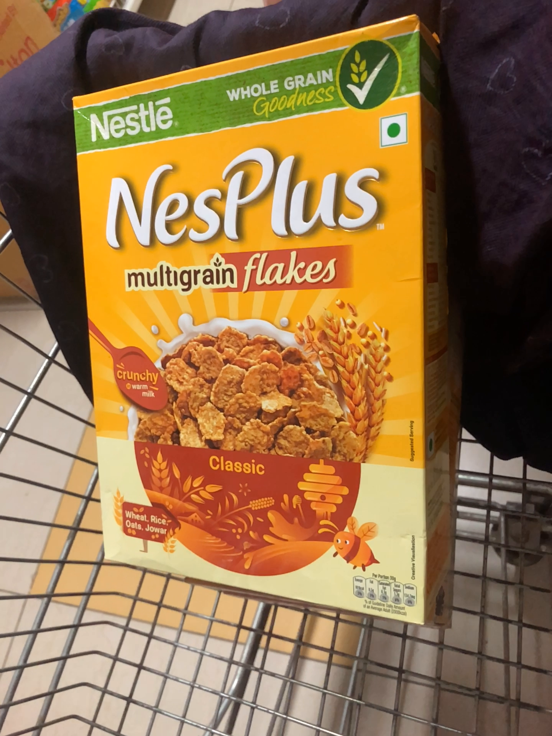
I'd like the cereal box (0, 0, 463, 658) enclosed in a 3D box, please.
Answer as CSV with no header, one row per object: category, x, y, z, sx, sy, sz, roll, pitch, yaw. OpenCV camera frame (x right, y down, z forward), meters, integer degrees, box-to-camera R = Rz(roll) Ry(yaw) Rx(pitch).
cereal box,-0.016,-0.022,0.295,0.190,0.080,0.259,3,104,23
